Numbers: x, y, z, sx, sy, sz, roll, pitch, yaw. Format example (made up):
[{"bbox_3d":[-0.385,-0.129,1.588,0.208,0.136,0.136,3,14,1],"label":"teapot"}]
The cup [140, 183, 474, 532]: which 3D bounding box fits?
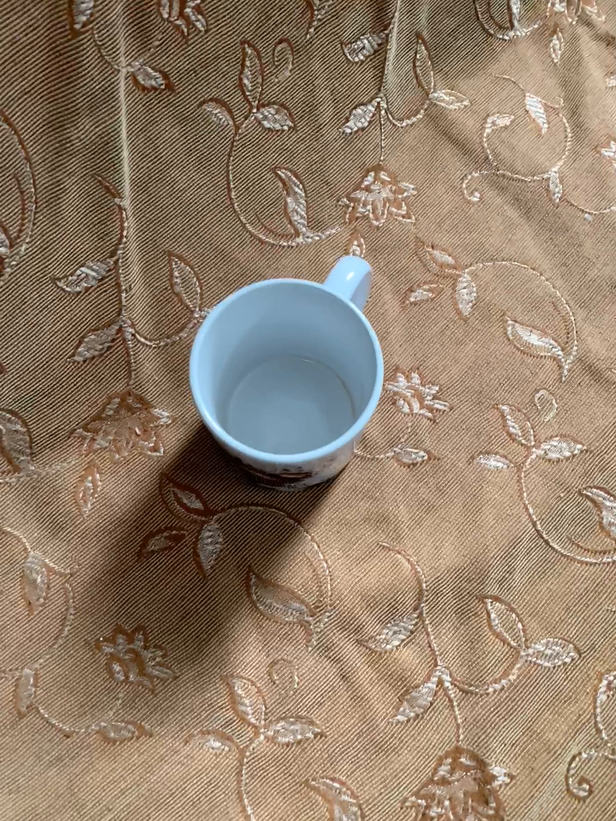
[{"bbox_3d":[0.001,-0.018,0.307,0.079,0.102,0.120,37,78,9],"label":"cup"}]
